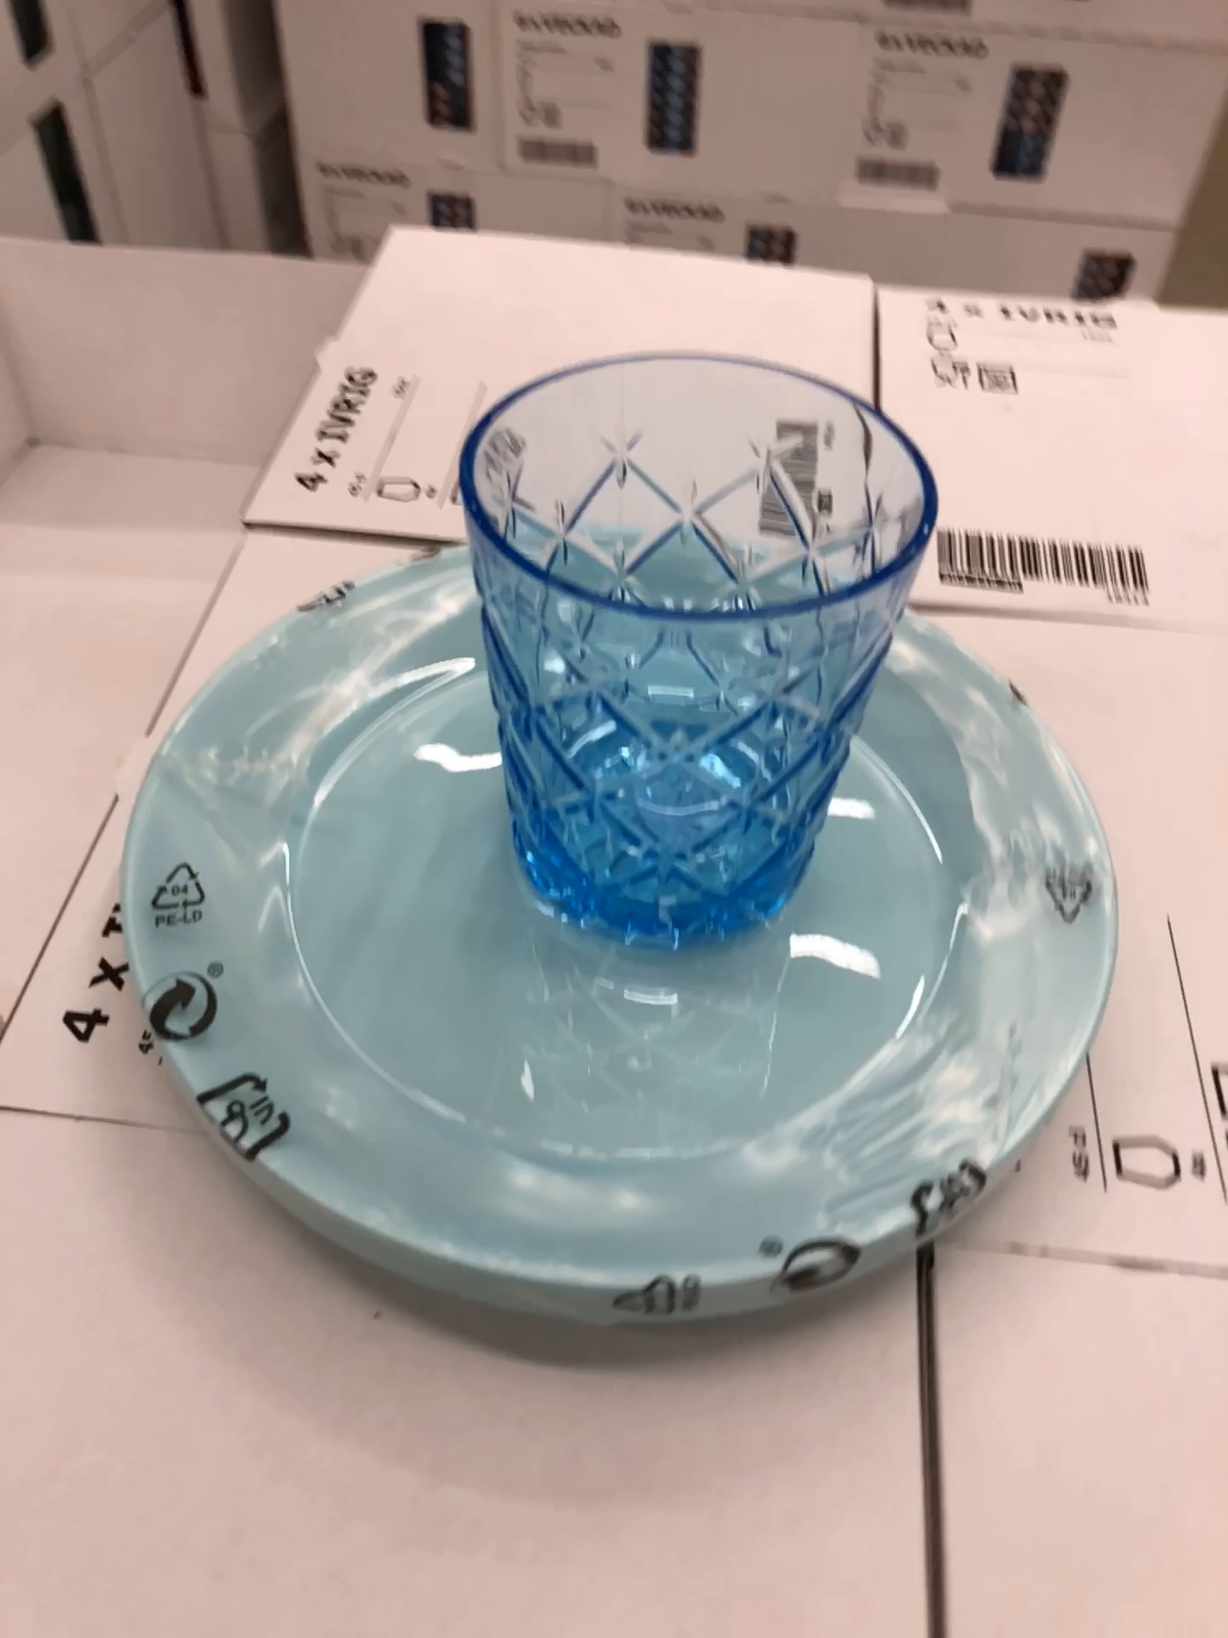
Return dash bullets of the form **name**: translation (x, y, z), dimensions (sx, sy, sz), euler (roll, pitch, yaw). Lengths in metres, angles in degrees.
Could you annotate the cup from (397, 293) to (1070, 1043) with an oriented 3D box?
- **cup**: translation (0.015, -0.031, 0.273), dimensions (0.090, 0.100, 0.090), euler (1, 47, -1)
